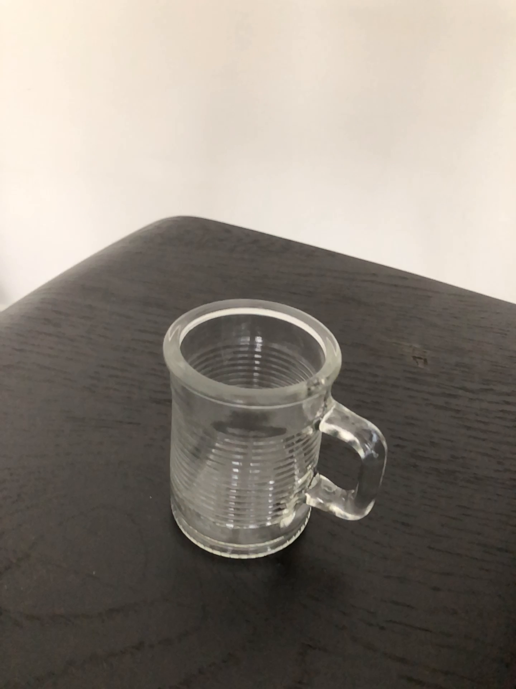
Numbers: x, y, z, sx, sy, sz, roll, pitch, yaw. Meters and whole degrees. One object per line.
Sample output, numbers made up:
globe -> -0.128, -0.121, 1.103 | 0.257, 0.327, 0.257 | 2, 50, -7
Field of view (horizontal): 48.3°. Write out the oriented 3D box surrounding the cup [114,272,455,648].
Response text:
cup -> 0.006, 0.035, 0.205 | 0.090, 0.080, 0.060 | 27, 43, 31
